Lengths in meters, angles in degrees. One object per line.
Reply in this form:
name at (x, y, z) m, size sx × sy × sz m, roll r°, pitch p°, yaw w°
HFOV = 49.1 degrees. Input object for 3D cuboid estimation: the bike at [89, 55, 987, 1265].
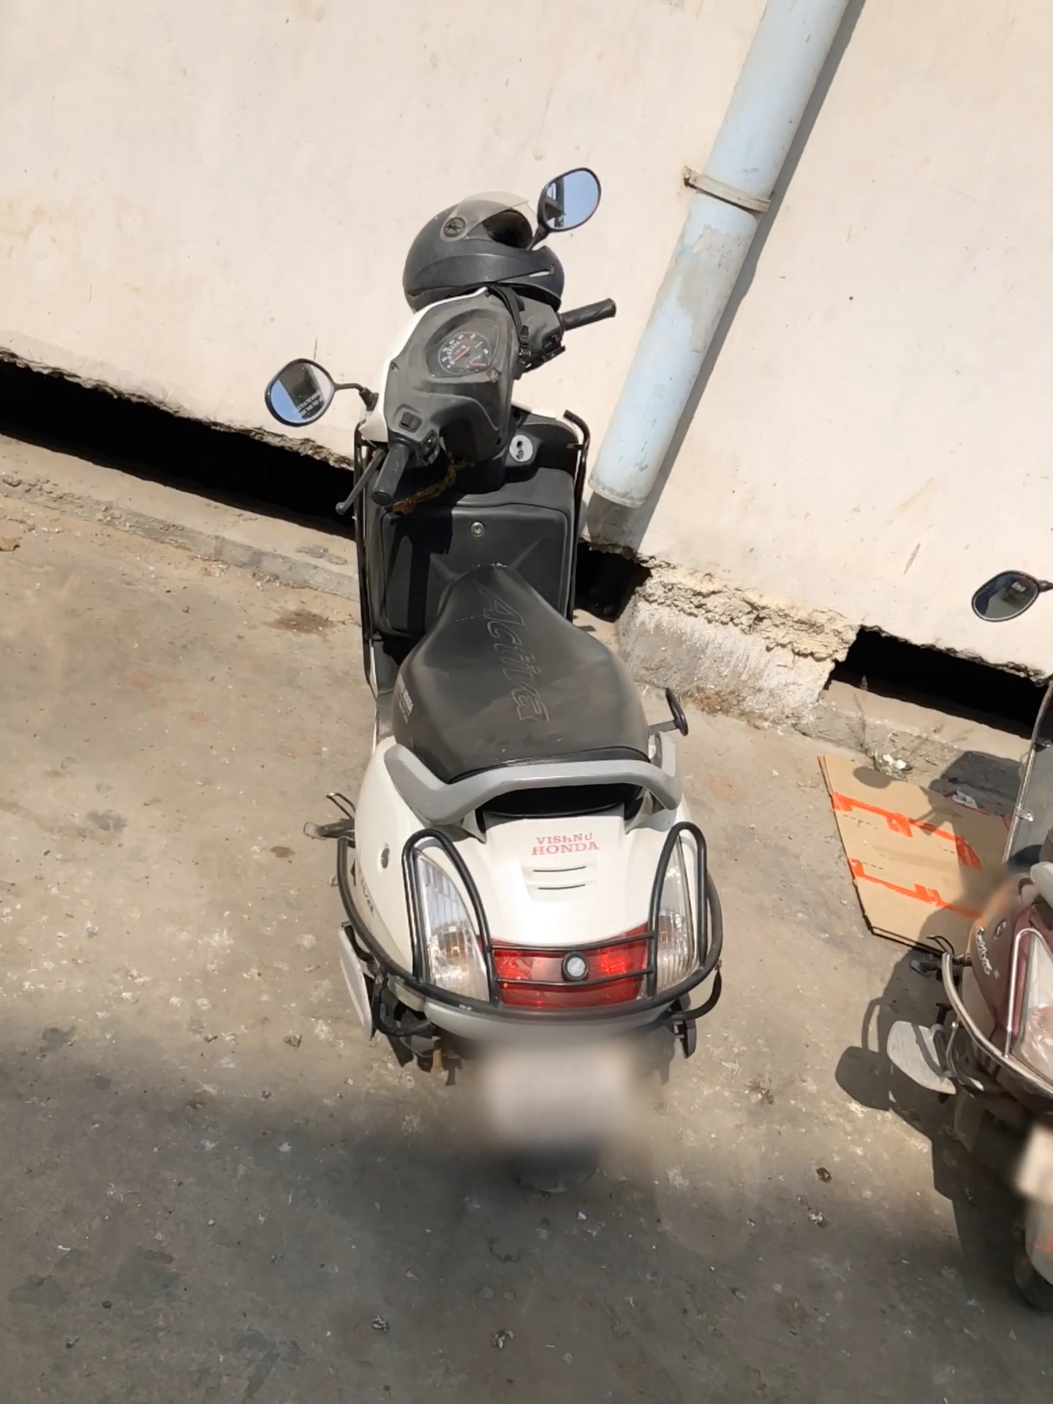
bike at (-0.215, -0.109, 1.804) m, size 0.625 × 1.123 × 1.305 m, roll 5°, pitch 35°, yaw -27°
